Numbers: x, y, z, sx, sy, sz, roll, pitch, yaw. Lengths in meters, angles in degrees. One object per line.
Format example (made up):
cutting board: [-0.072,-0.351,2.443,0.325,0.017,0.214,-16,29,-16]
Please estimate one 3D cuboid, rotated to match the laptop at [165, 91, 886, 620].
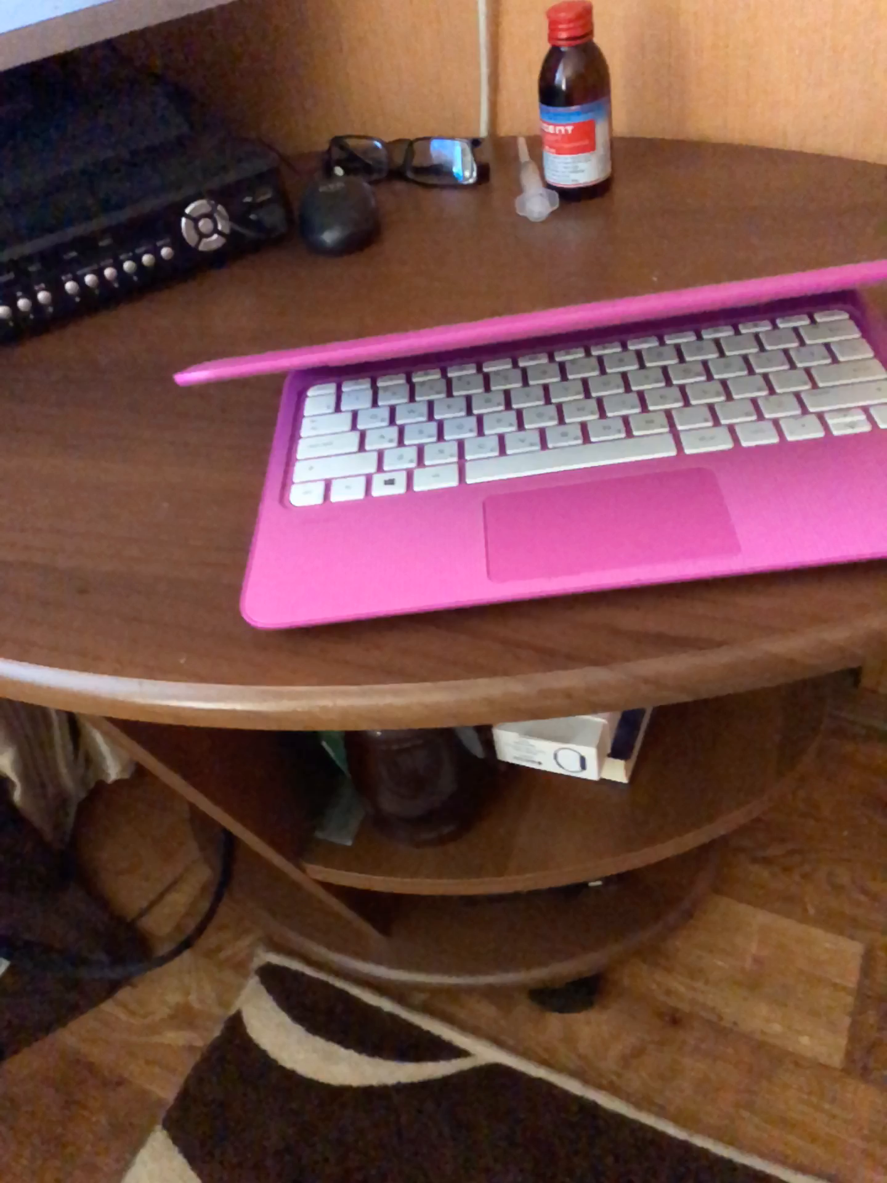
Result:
laptop: [0.052,-0.098,0.377,0.264,0.081,0.187,-7,42,6]
